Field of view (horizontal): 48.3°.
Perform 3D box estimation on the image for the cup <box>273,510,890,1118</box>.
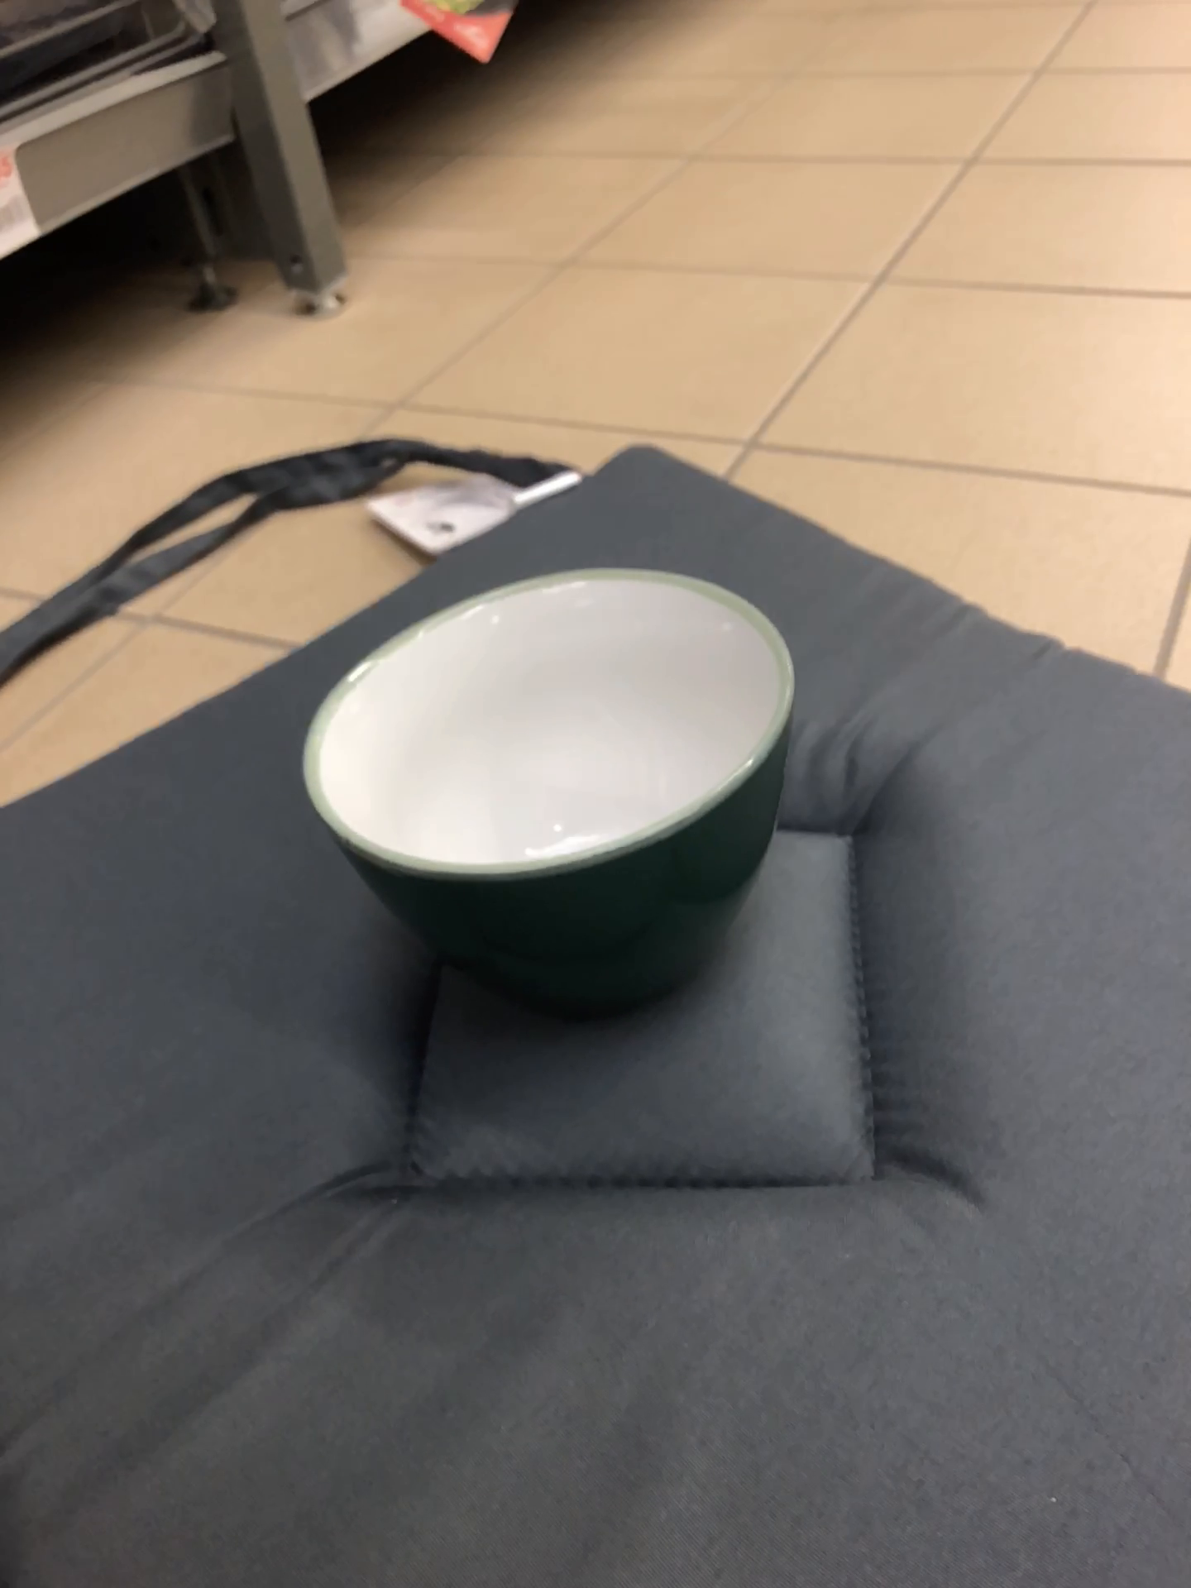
[{"bbox_3d":[-0.004,-0.002,0.324,0.120,0.060,0.131,-6,41,5],"label":"cup"}]
